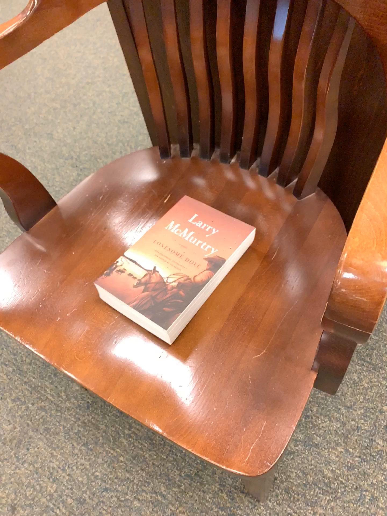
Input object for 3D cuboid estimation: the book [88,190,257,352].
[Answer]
[{"bbox_3d":[-0.023,0.008,0.571,0.140,0.060,0.201,28,61,27],"label":"book"}]
